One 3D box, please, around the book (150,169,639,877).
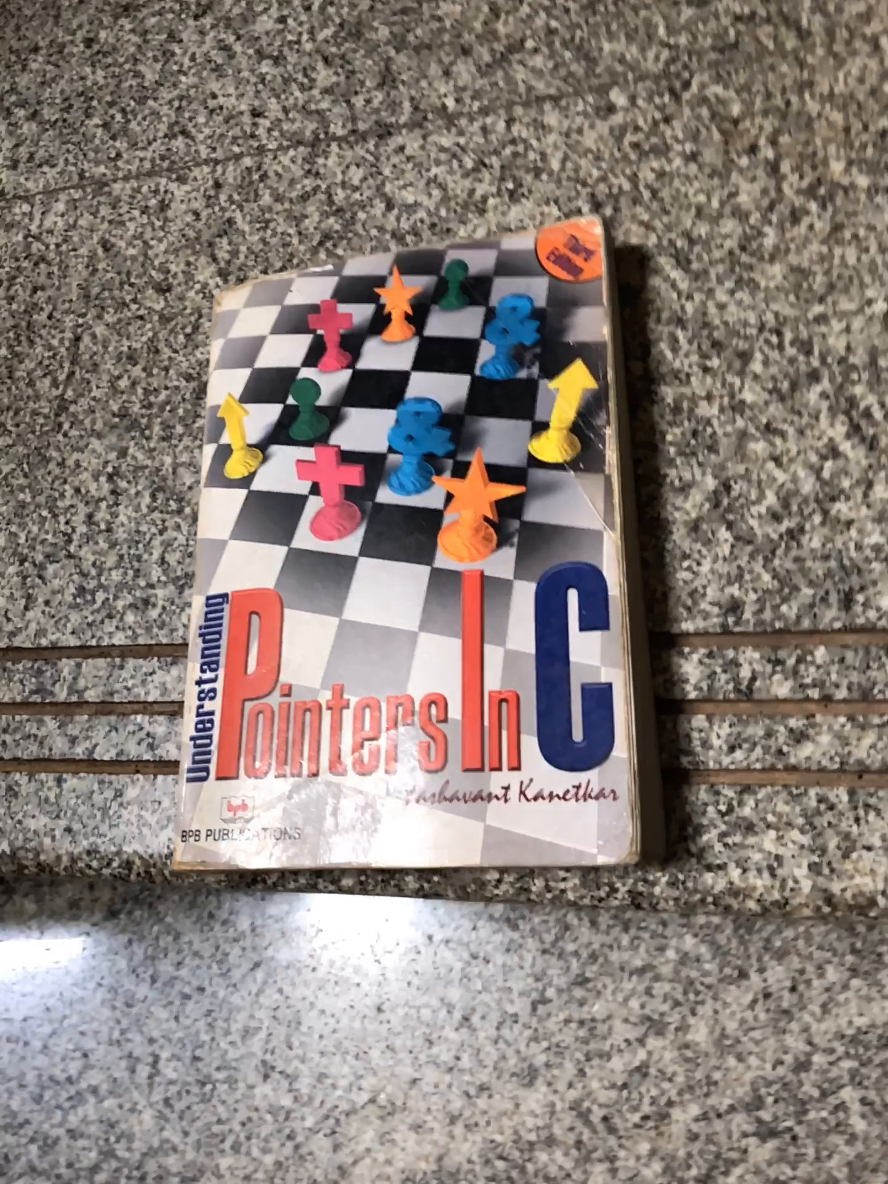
[{"bbox_3d":[-0.015,-0.023,0.320,0.140,0.030,0.220,-5,71,17],"label":"book"}]
